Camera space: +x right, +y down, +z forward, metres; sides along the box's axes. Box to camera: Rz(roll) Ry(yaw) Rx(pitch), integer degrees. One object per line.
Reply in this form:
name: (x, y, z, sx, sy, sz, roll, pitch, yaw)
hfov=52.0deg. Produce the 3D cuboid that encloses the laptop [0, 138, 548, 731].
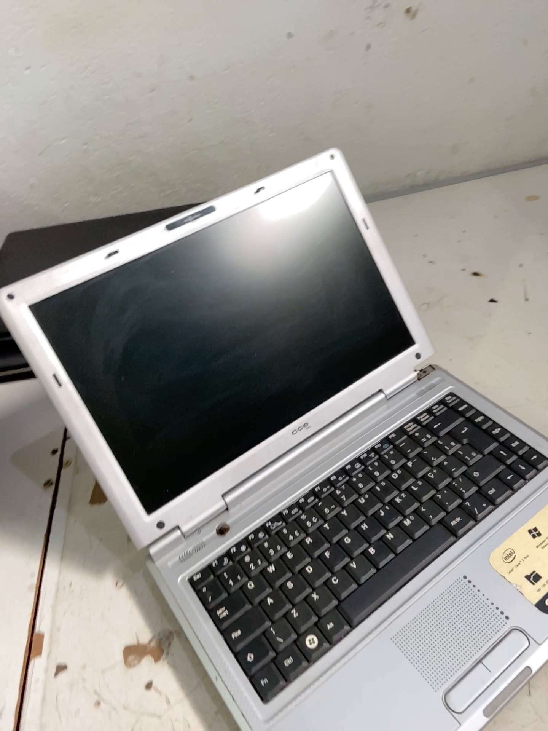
laptop: (0.041, 0.031, 0.424, 0.338, 0.190, 0.388, -30, 47, -21)
